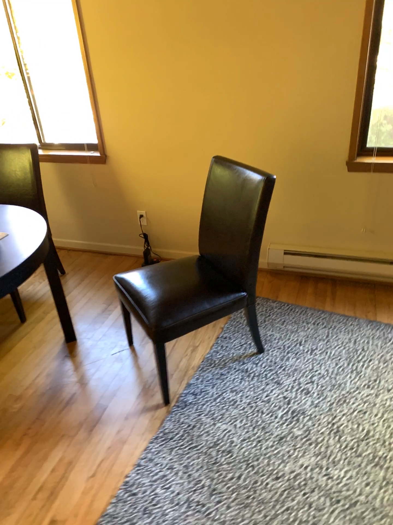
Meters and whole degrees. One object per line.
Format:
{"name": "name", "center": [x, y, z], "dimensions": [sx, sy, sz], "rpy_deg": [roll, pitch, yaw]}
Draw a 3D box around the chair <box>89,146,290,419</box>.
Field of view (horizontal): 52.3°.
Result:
{"name": "chair", "center": [-0.012, 0.062, 1.962], "dimensions": [0.670, 1.034, 0.563], "rpy_deg": [-19, 32, -24]}
